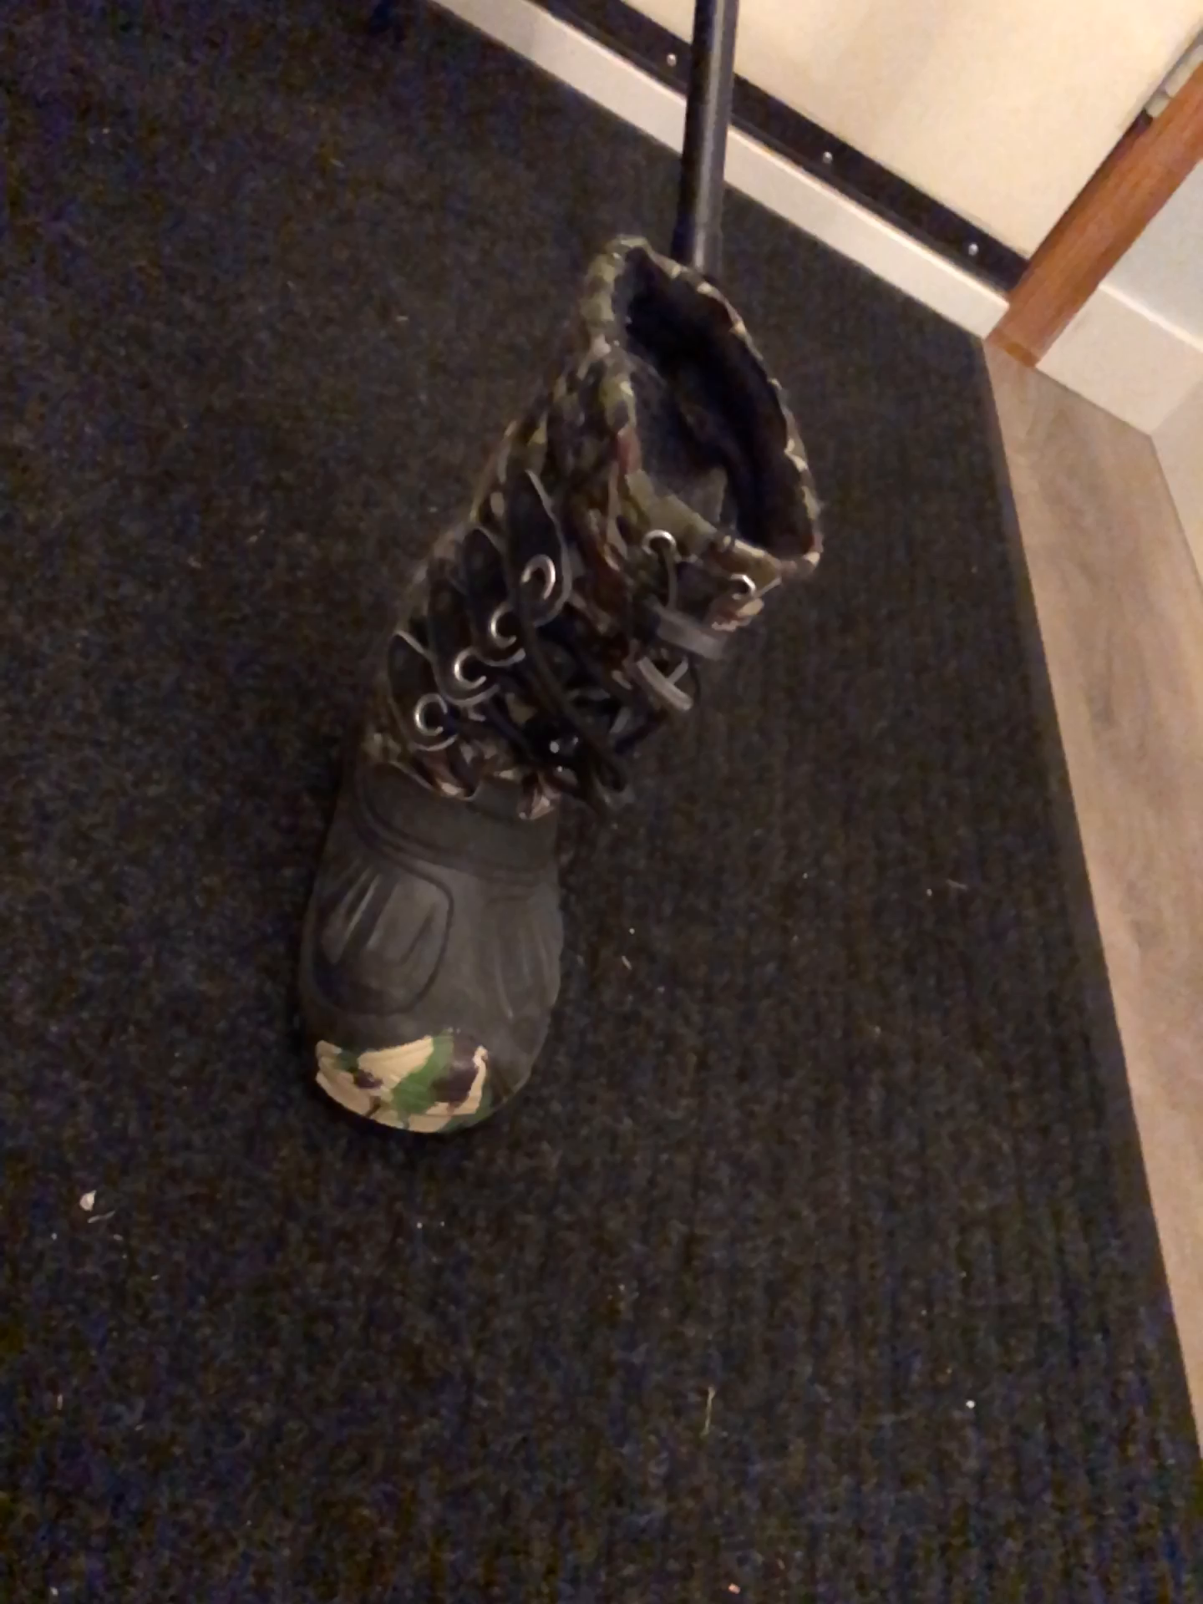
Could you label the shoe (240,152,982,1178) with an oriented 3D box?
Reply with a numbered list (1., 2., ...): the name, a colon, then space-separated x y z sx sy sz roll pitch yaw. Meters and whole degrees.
1. shoe: -0.017 -0.034 0.401 0.100 0.209 0.201 17 43 -22
